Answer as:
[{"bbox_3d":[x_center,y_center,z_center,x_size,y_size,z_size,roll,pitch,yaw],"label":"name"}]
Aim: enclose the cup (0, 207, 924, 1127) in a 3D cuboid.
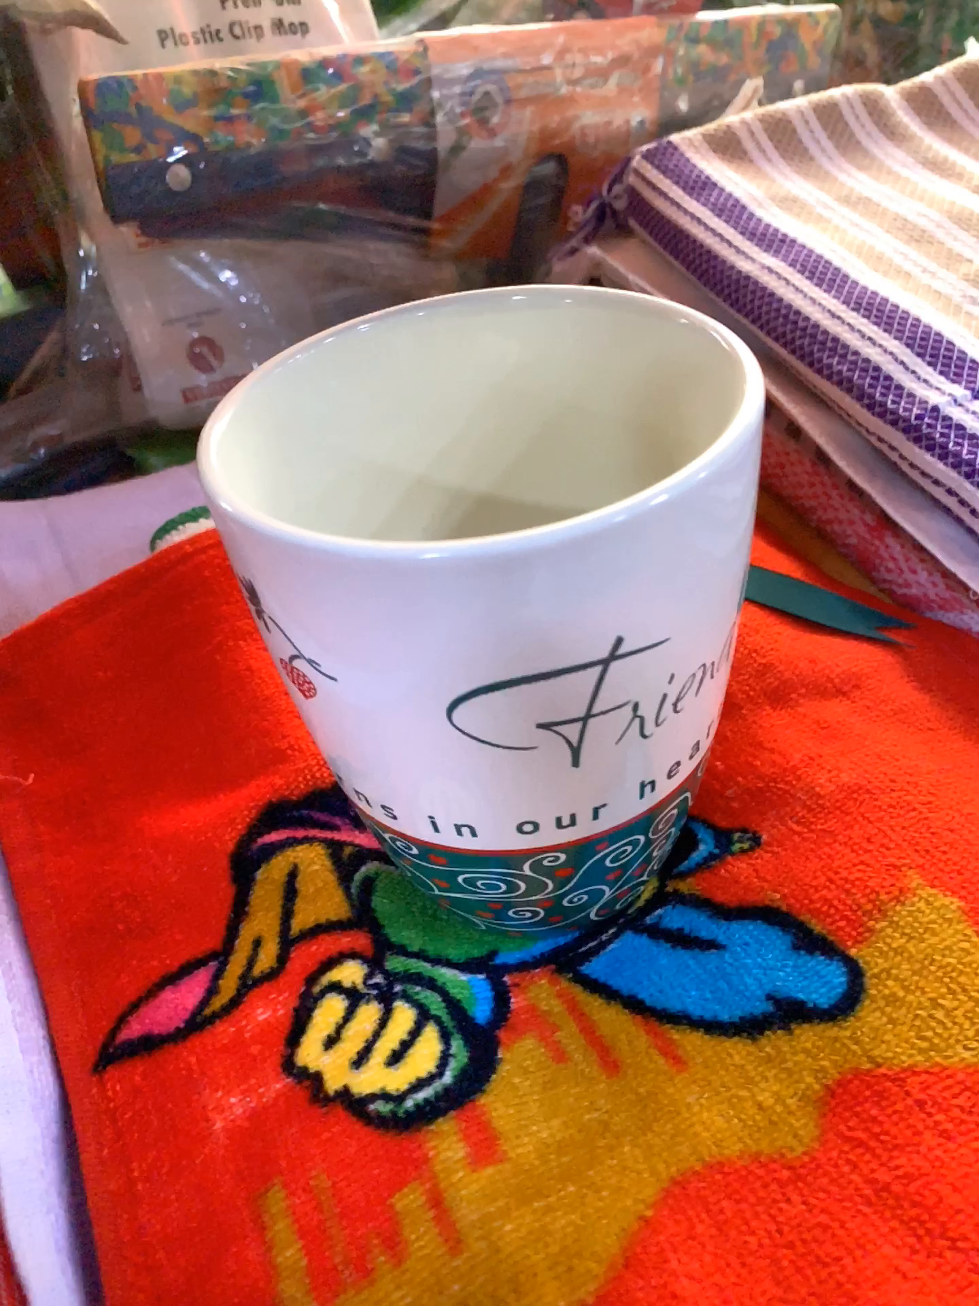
[{"bbox_3d":[0.006,-0.012,0.201,0.100,0.094,0.133,20,49,28],"label":"cup"}]
